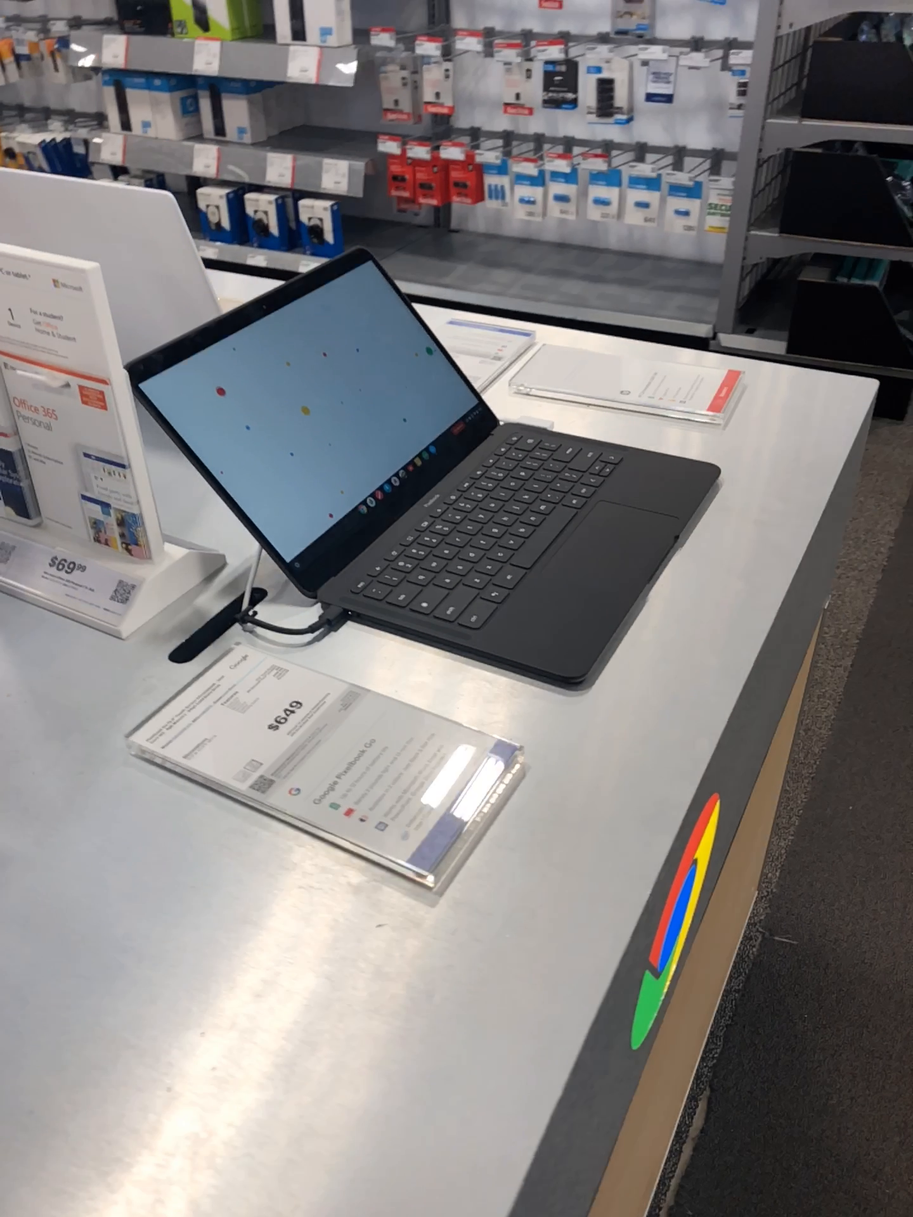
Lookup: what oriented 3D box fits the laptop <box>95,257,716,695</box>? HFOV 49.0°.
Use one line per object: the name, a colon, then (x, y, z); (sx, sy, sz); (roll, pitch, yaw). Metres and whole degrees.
laptop: (-0.022, -0.126, 0.734); (0.335, 0.134, 0.295); (17, 40, 22)
